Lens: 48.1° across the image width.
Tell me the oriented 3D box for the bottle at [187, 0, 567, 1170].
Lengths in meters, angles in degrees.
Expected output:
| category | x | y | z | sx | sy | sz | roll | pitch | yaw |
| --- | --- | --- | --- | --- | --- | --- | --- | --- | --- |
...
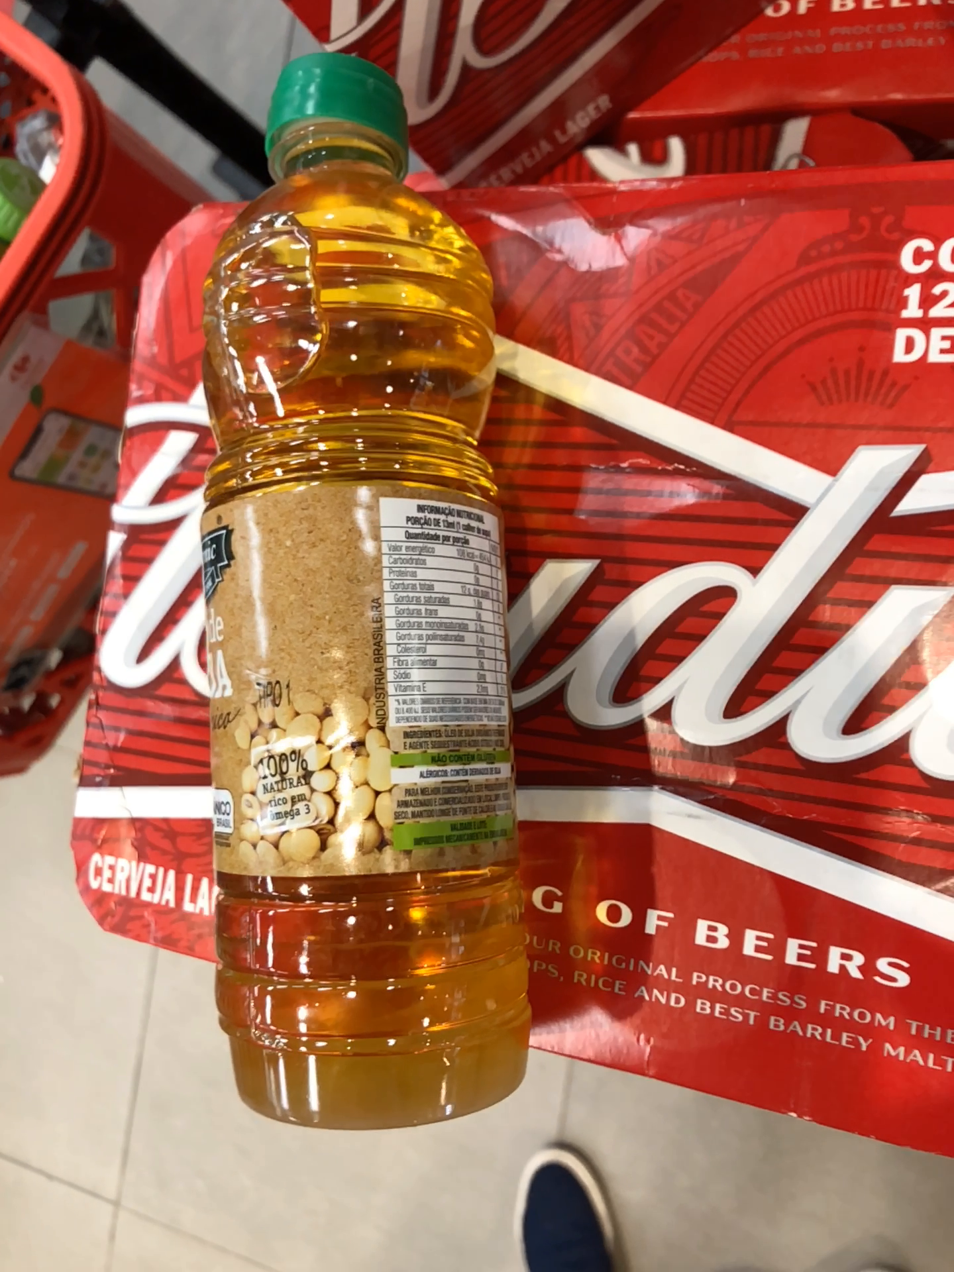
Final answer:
| category | x | y | z | sx | sy | sz | roll | pitch | yaw |
| --- | --- | --- | --- | --- | --- | --- | --- | --- | --- |
| bottle | -0.027 | -0.030 | 0.221 | 0.060 | 0.060 | 0.240 | -1 | 84 | -15 |
